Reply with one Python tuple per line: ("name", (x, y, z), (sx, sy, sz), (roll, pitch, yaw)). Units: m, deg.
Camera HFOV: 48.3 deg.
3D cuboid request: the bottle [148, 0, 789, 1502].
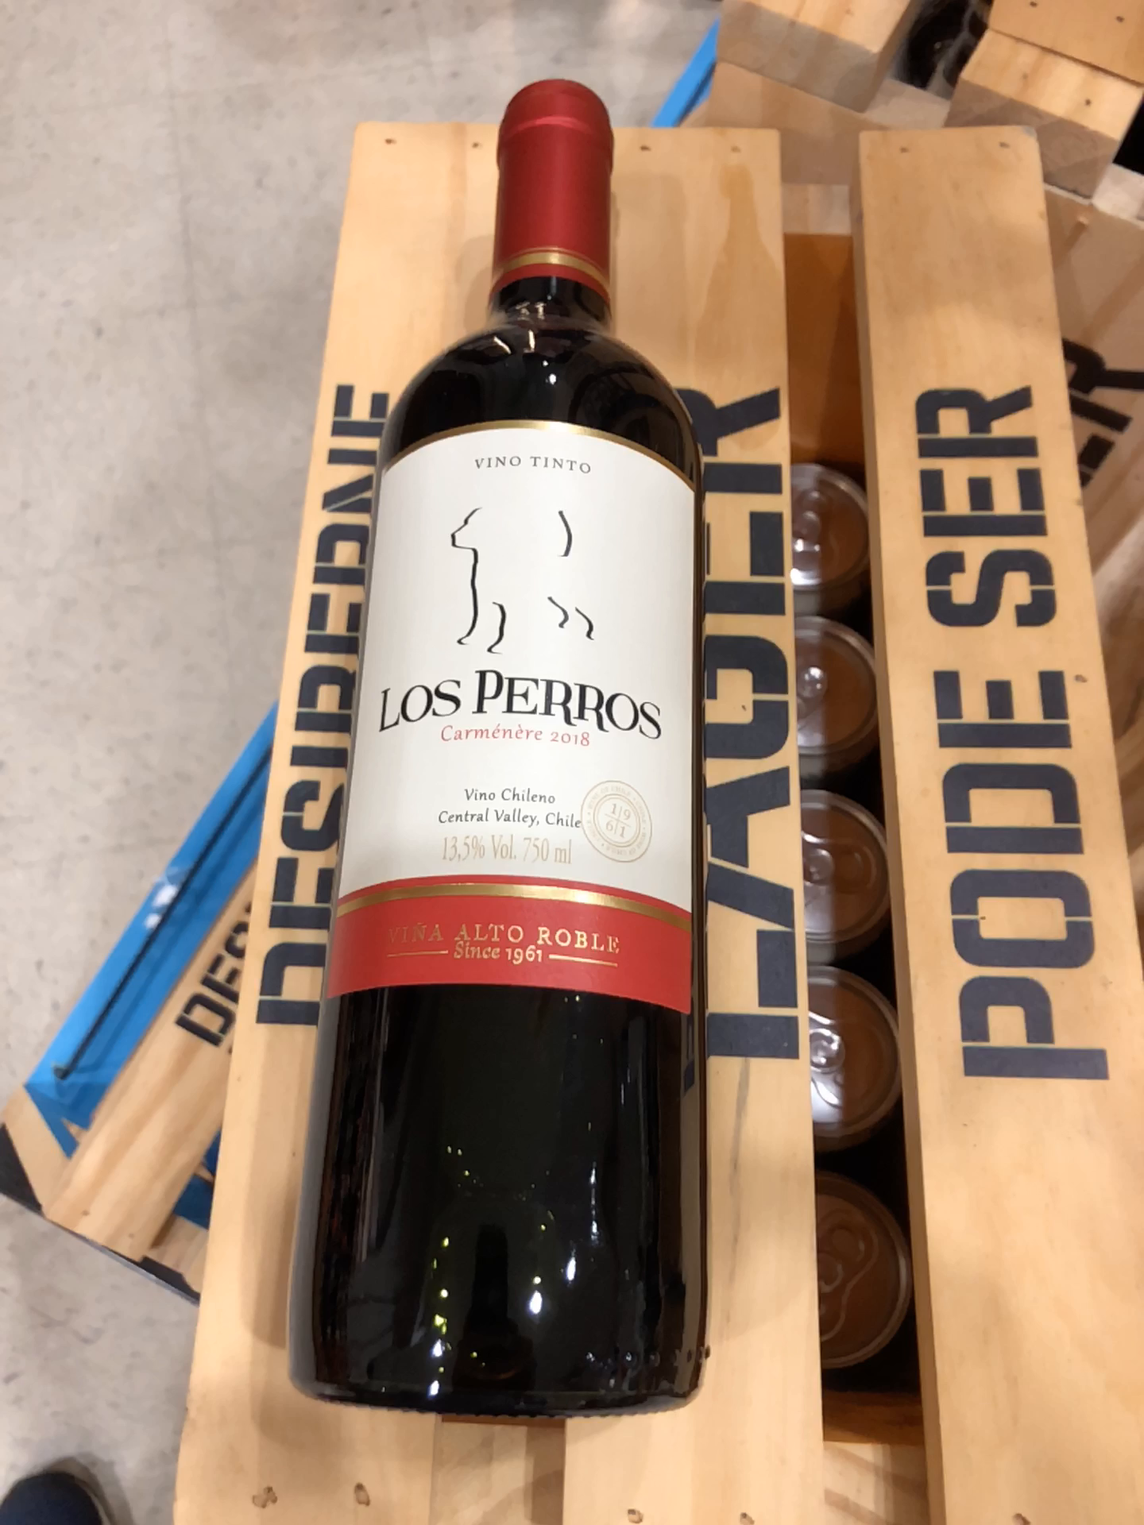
("bottle", (-0.009, -0.034, 0.260), (0.090, 0.060, 0.311), (2, 70, 0))
